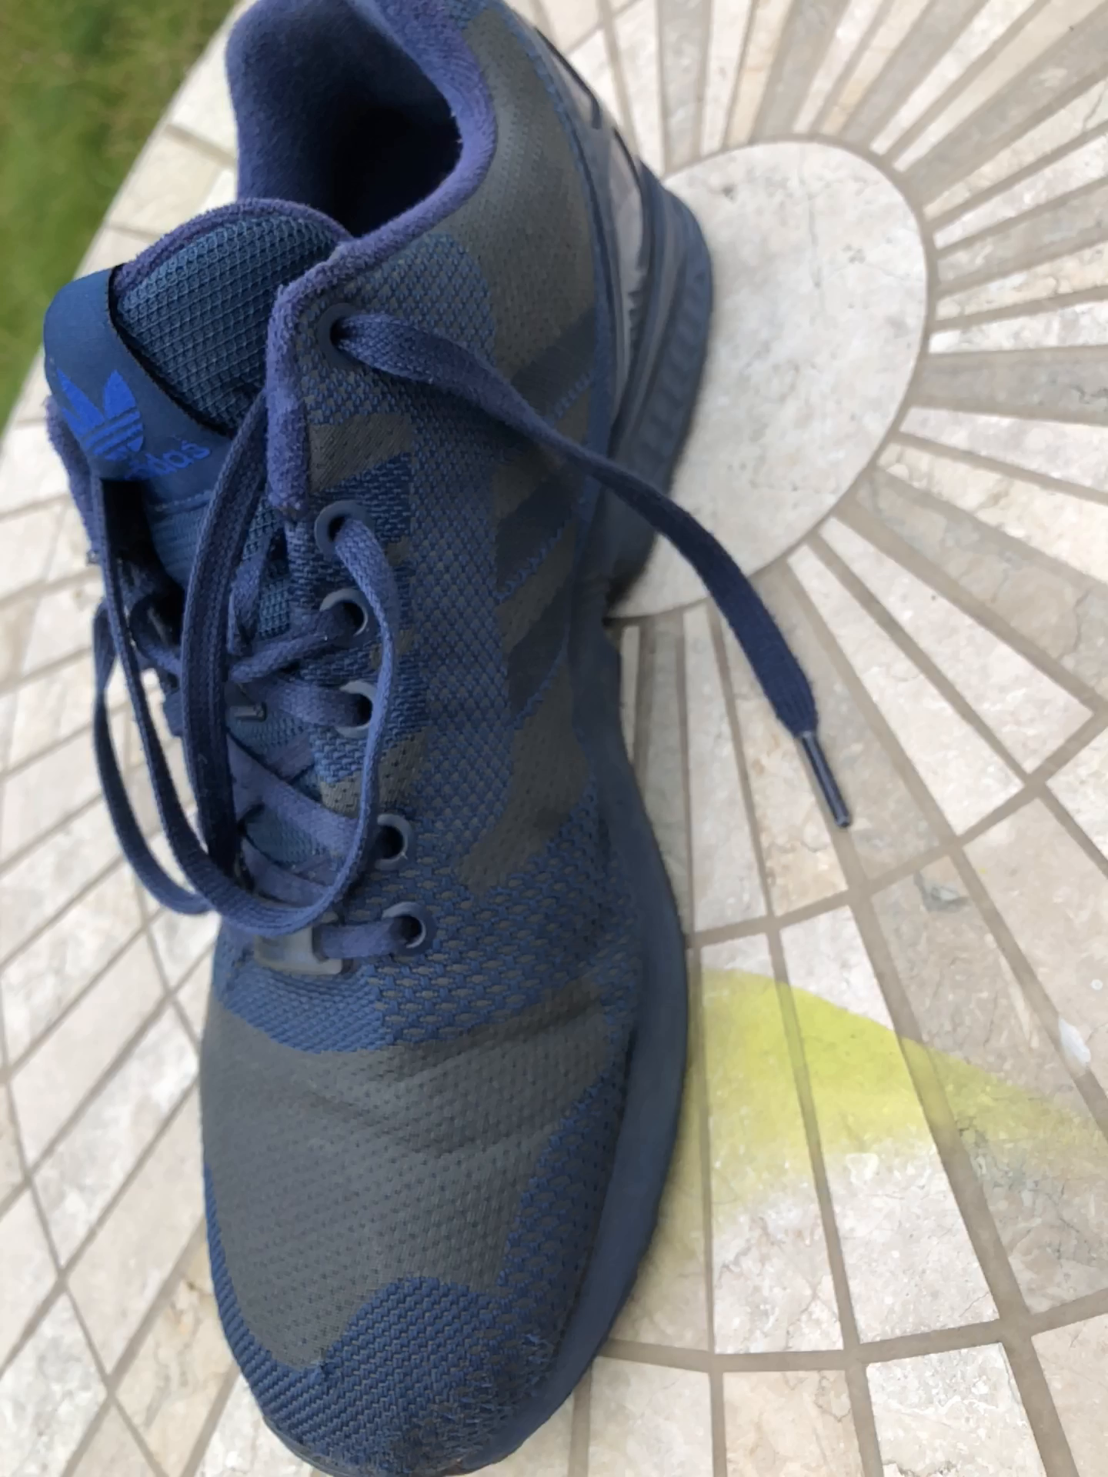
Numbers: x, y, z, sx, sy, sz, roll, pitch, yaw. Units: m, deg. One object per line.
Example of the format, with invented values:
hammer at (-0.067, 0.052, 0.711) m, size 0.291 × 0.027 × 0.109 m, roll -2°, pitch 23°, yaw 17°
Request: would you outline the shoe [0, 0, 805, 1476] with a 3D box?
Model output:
shoe at (-0.039, -0.010, 0.249) m, size 0.110 × 0.110 × 0.280 m, roll -3°, pitch 72°, yaw 39°
